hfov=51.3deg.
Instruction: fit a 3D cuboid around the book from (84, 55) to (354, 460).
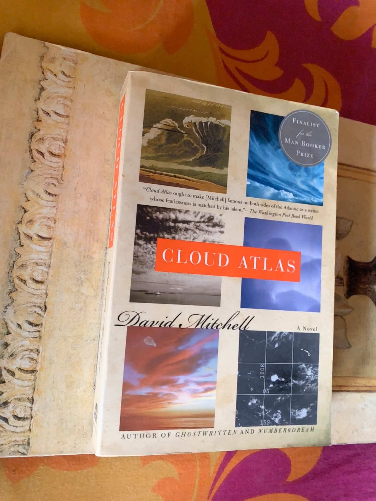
[{"bbox_3d":[0.020,0.006,0.216,0.130,0.040,0.190,6,83,-13],"label":"book"}]
